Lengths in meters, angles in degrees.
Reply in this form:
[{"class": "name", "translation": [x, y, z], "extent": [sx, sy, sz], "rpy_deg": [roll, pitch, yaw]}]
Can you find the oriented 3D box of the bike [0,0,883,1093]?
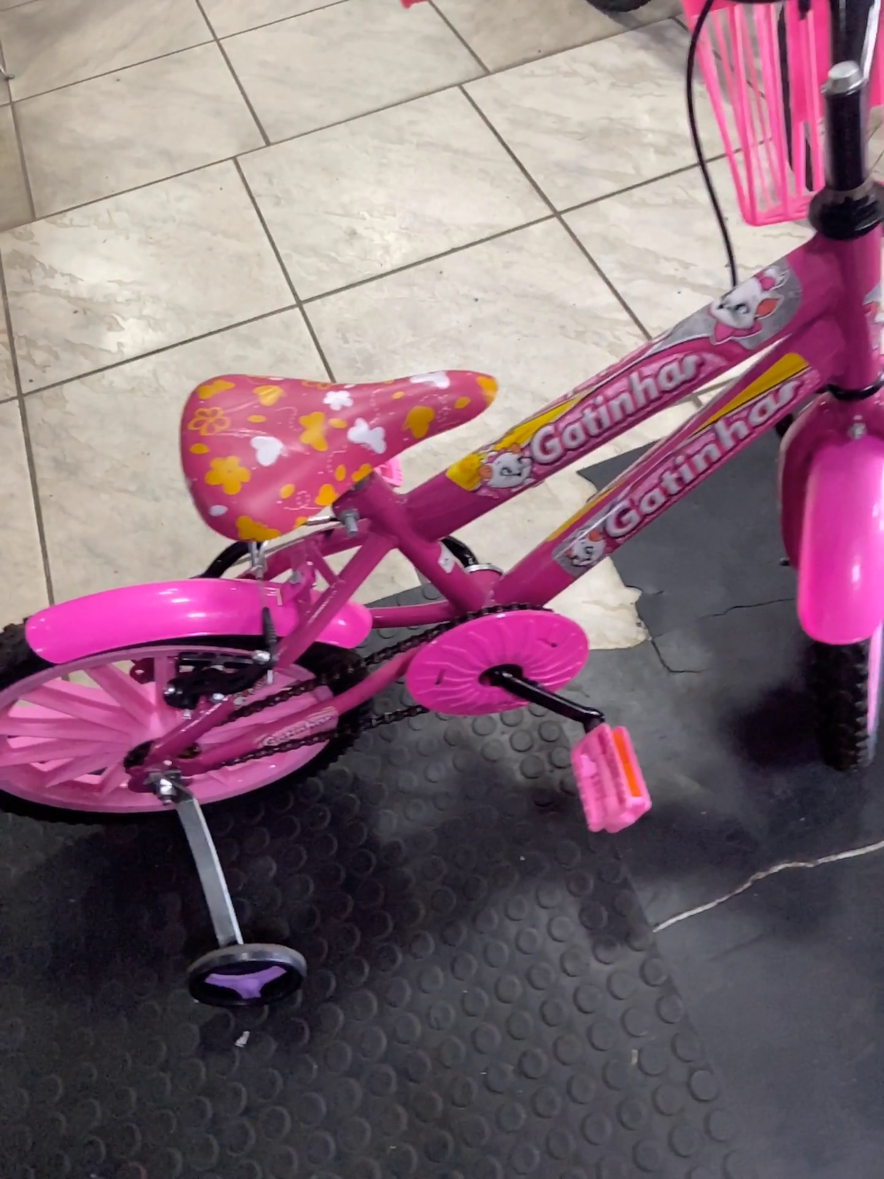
[{"class": "bike", "translation": [-0.009, -0.093, 0.699], "extent": [0.939, 0.789, 0.467], "rpy_deg": [-19, 57, -6]}]
